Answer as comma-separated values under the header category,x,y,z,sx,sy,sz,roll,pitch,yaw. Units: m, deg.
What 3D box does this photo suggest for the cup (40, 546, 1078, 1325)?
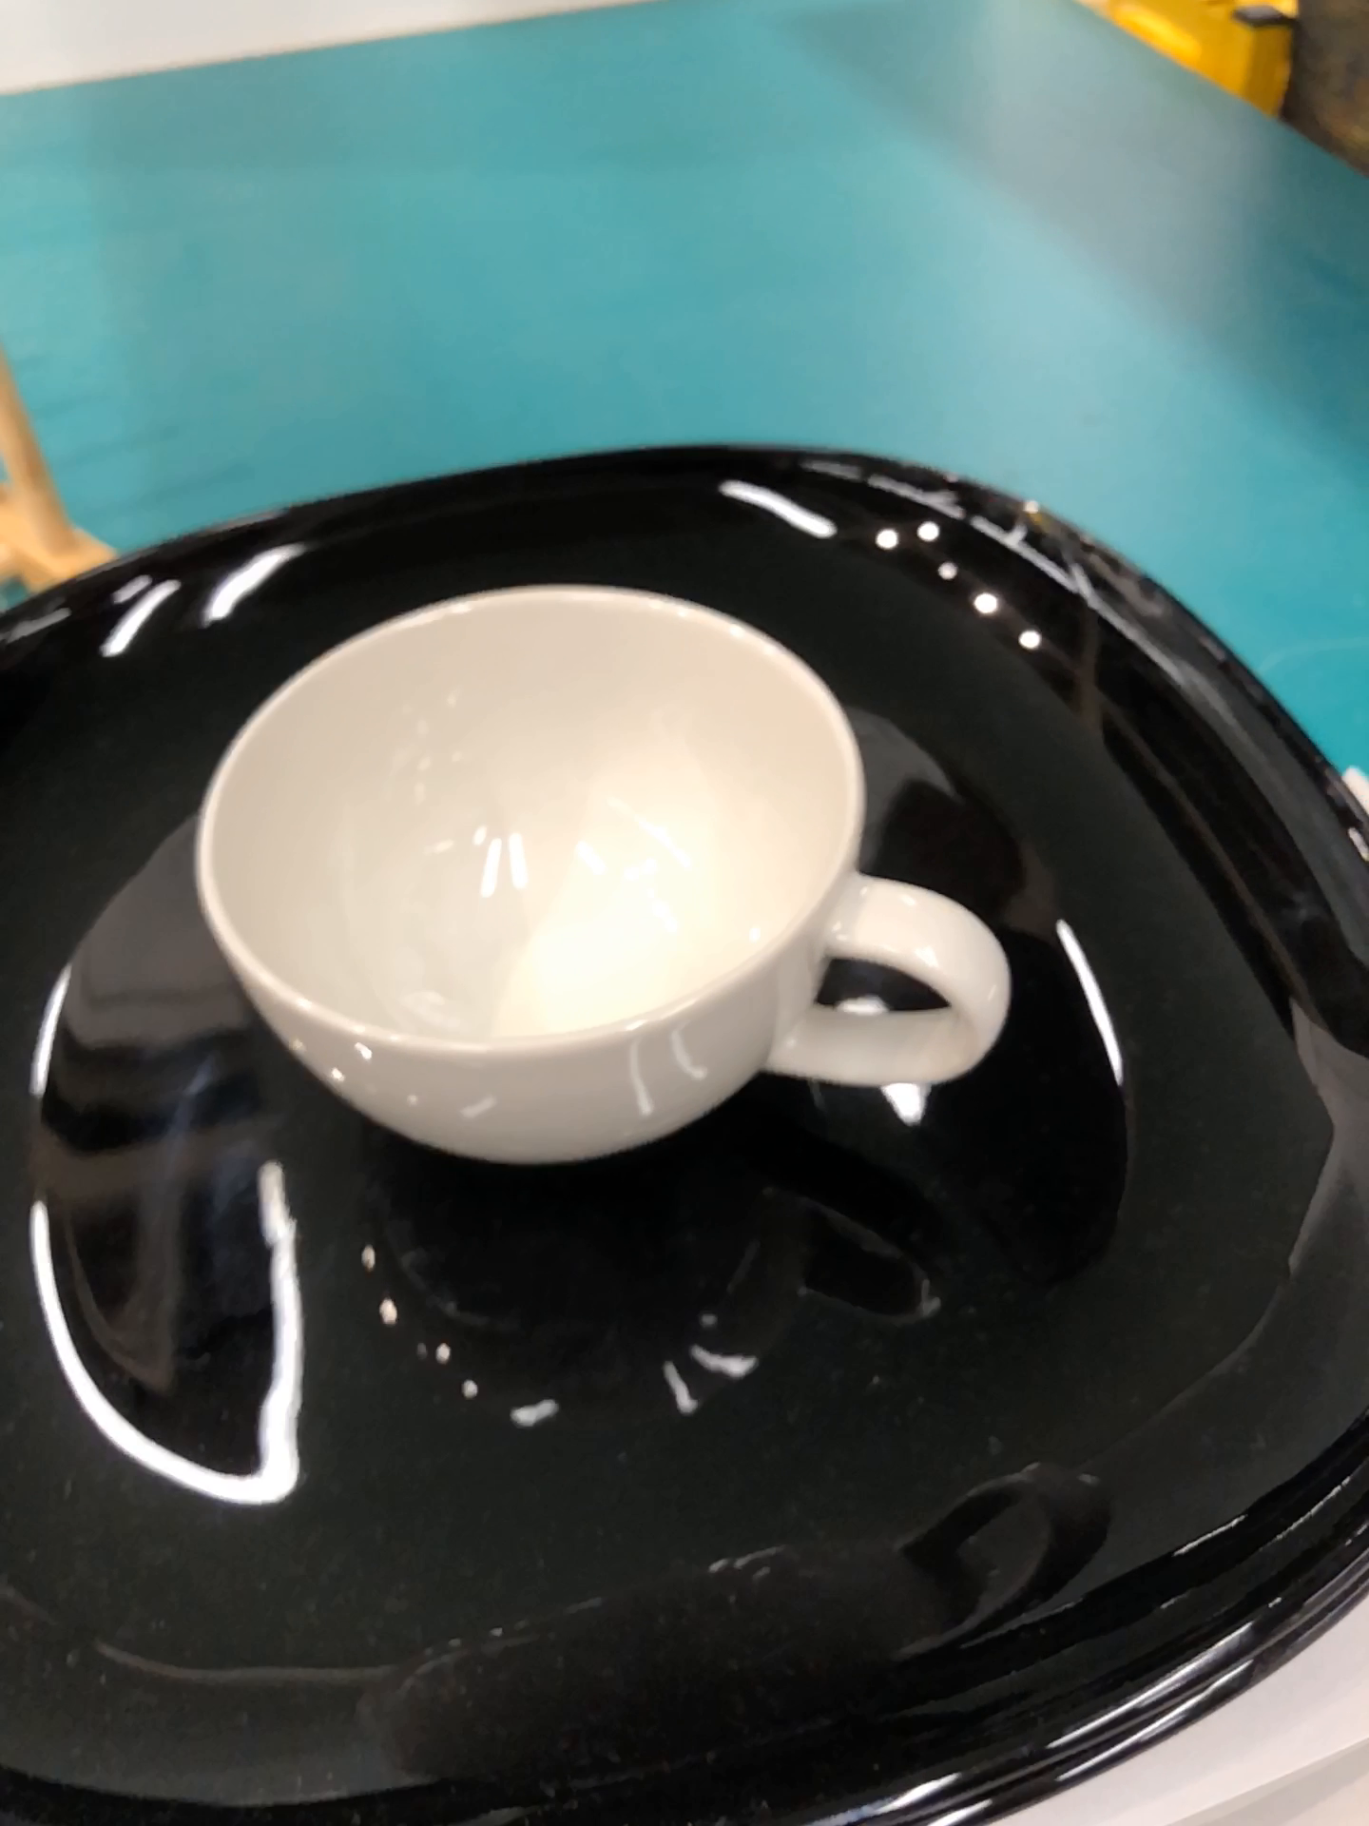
category,x,y,z,sx,sy,sz,roll,pitch,yaw
cup,-0.011,-0.006,0.253,0.130,0.040,0.110,9,47,14
